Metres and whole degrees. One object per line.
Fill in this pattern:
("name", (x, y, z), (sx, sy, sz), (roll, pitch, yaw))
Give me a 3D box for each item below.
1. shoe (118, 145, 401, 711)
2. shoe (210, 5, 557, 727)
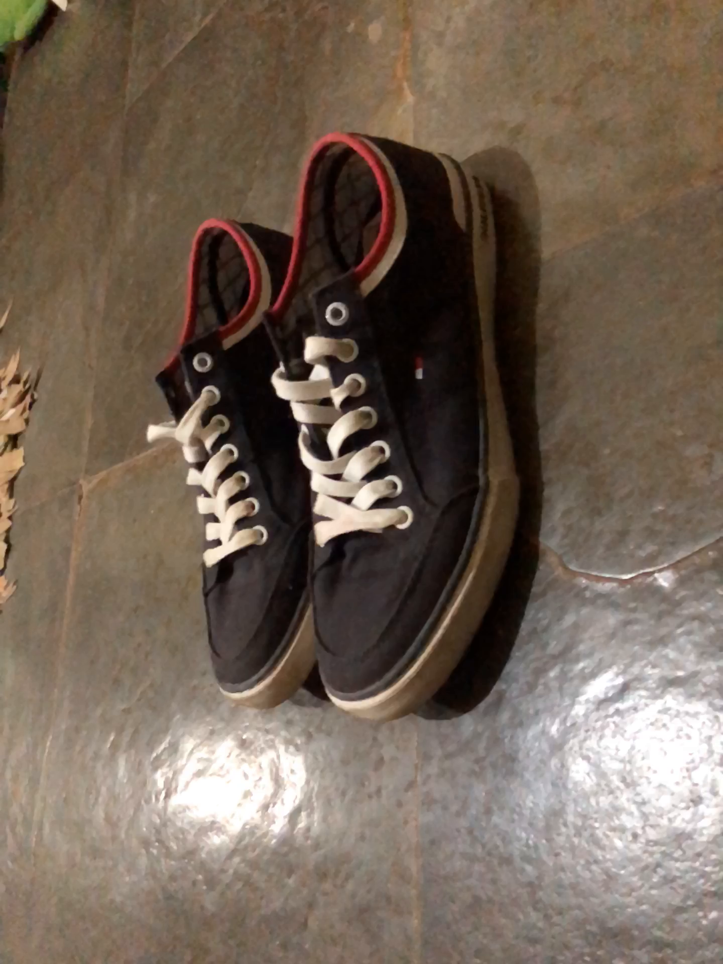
("shoe", (-0.054, -0.022, 0.458), (0.110, 0.100, 0.291), (-18, 64, 44))
("shoe", (0.016, -0.044, 0.380), (0.110, 0.100, 0.300), (-13, 68, 46))
